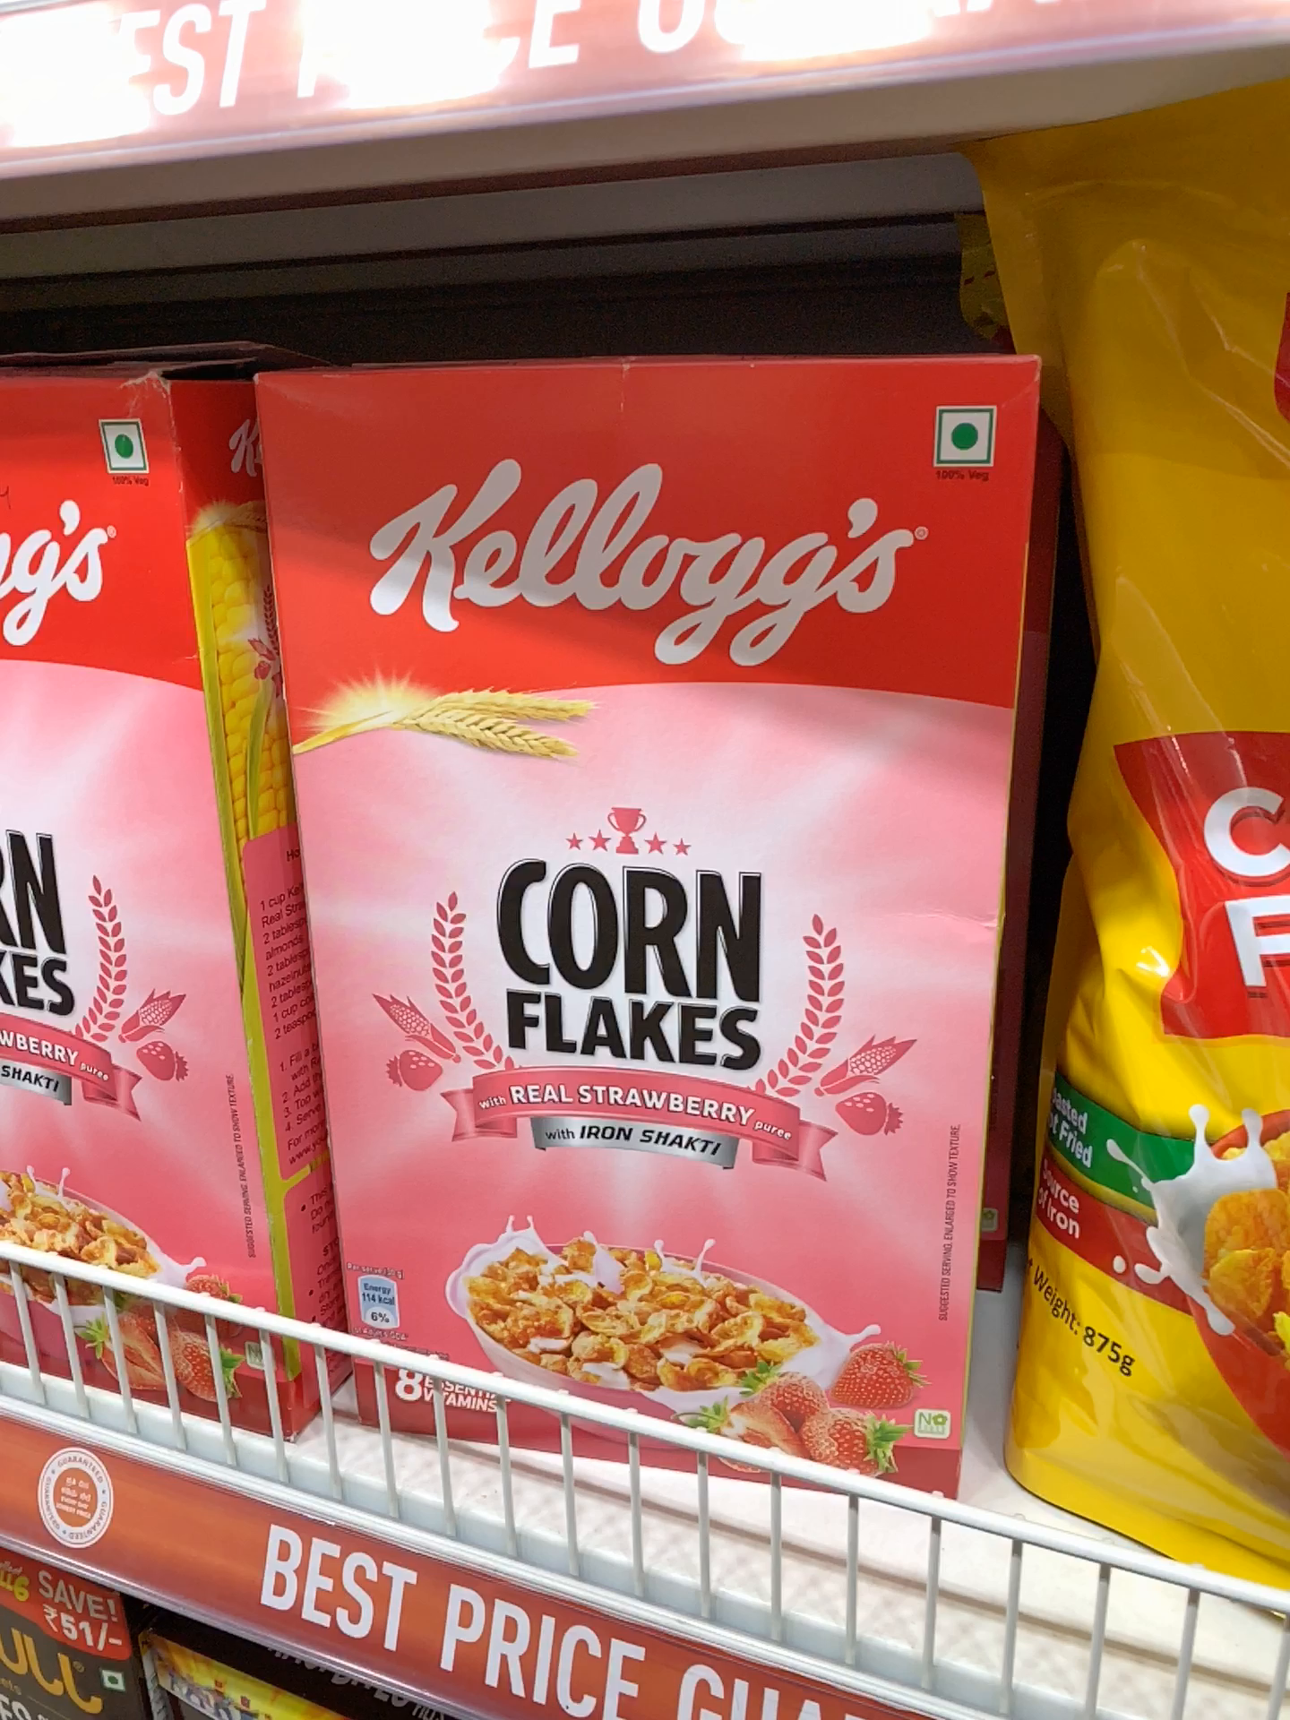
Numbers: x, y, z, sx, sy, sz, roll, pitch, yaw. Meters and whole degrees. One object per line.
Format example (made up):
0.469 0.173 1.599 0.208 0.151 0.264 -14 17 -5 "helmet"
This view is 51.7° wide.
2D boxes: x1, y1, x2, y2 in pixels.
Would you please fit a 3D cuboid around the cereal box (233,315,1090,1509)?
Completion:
0.010 0.011 0.341 0.170 0.268 0.091 2 18 12 "cereal box"
